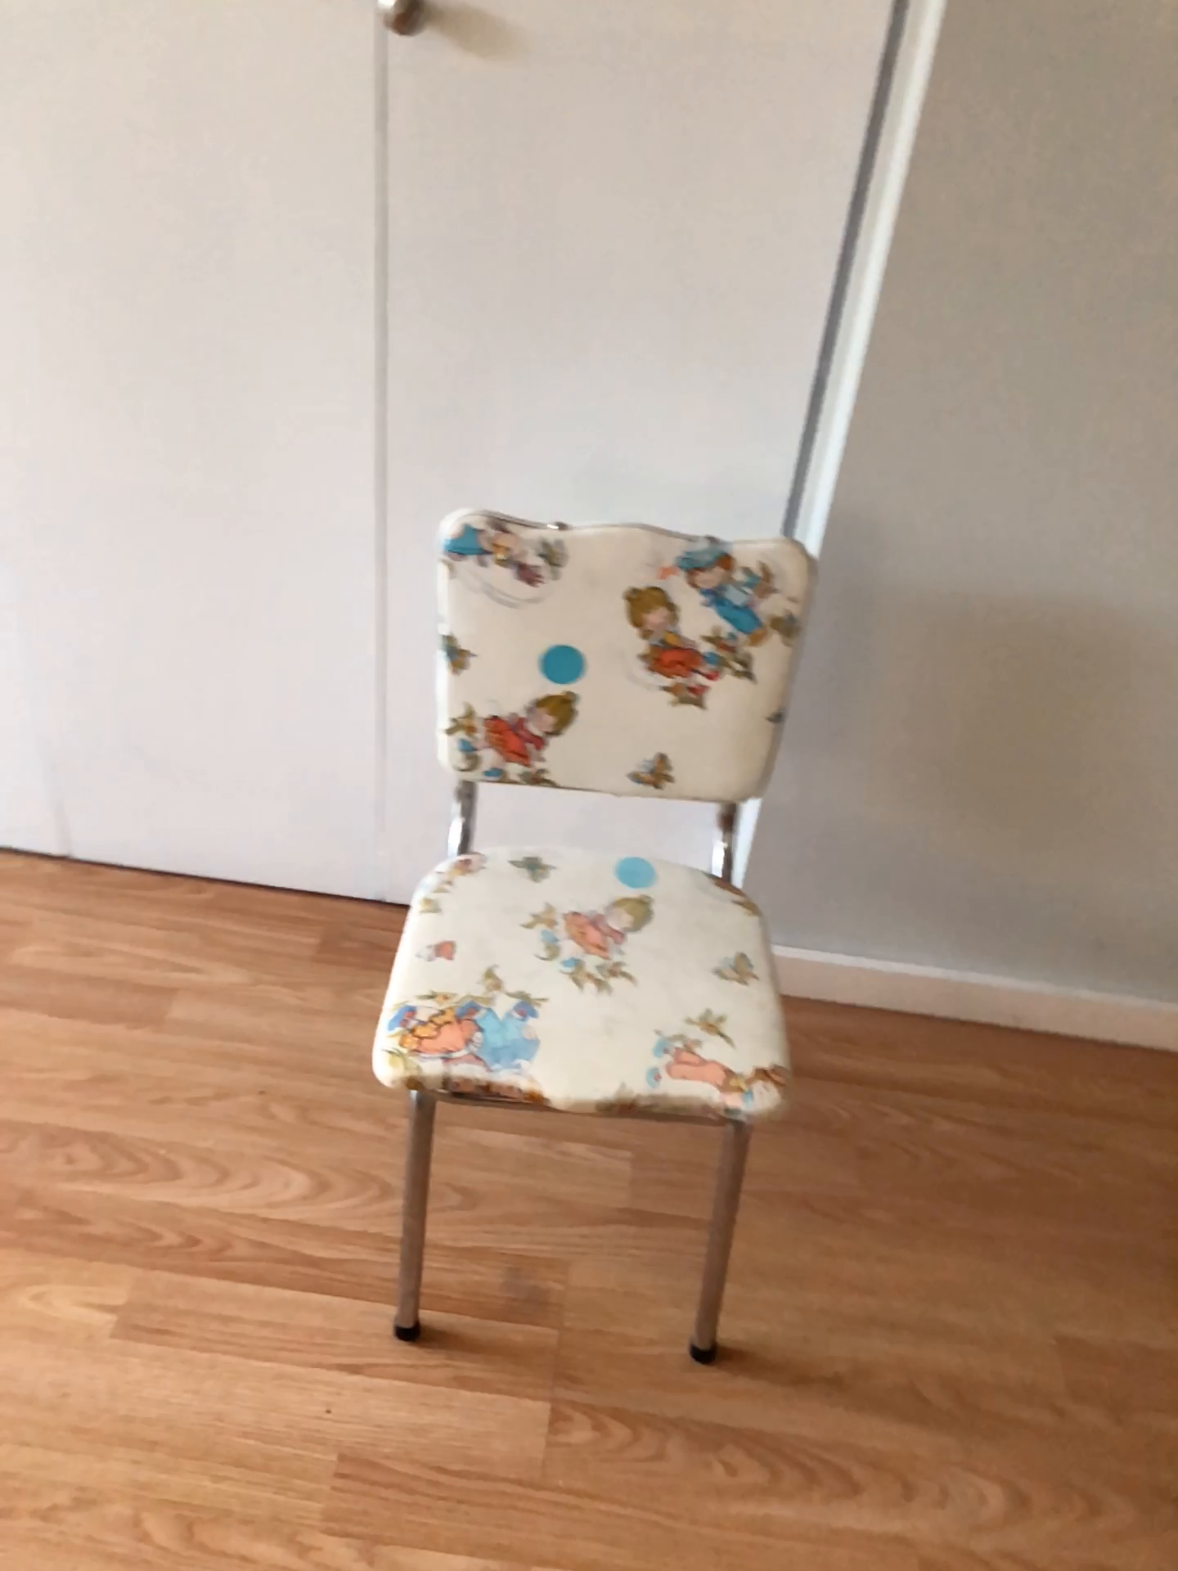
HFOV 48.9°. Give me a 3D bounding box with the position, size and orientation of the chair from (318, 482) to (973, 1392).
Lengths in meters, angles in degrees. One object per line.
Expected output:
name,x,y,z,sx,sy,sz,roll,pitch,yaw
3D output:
chair,0.012,0.124,1.011,0.350,0.558,0.391,6,37,-1
